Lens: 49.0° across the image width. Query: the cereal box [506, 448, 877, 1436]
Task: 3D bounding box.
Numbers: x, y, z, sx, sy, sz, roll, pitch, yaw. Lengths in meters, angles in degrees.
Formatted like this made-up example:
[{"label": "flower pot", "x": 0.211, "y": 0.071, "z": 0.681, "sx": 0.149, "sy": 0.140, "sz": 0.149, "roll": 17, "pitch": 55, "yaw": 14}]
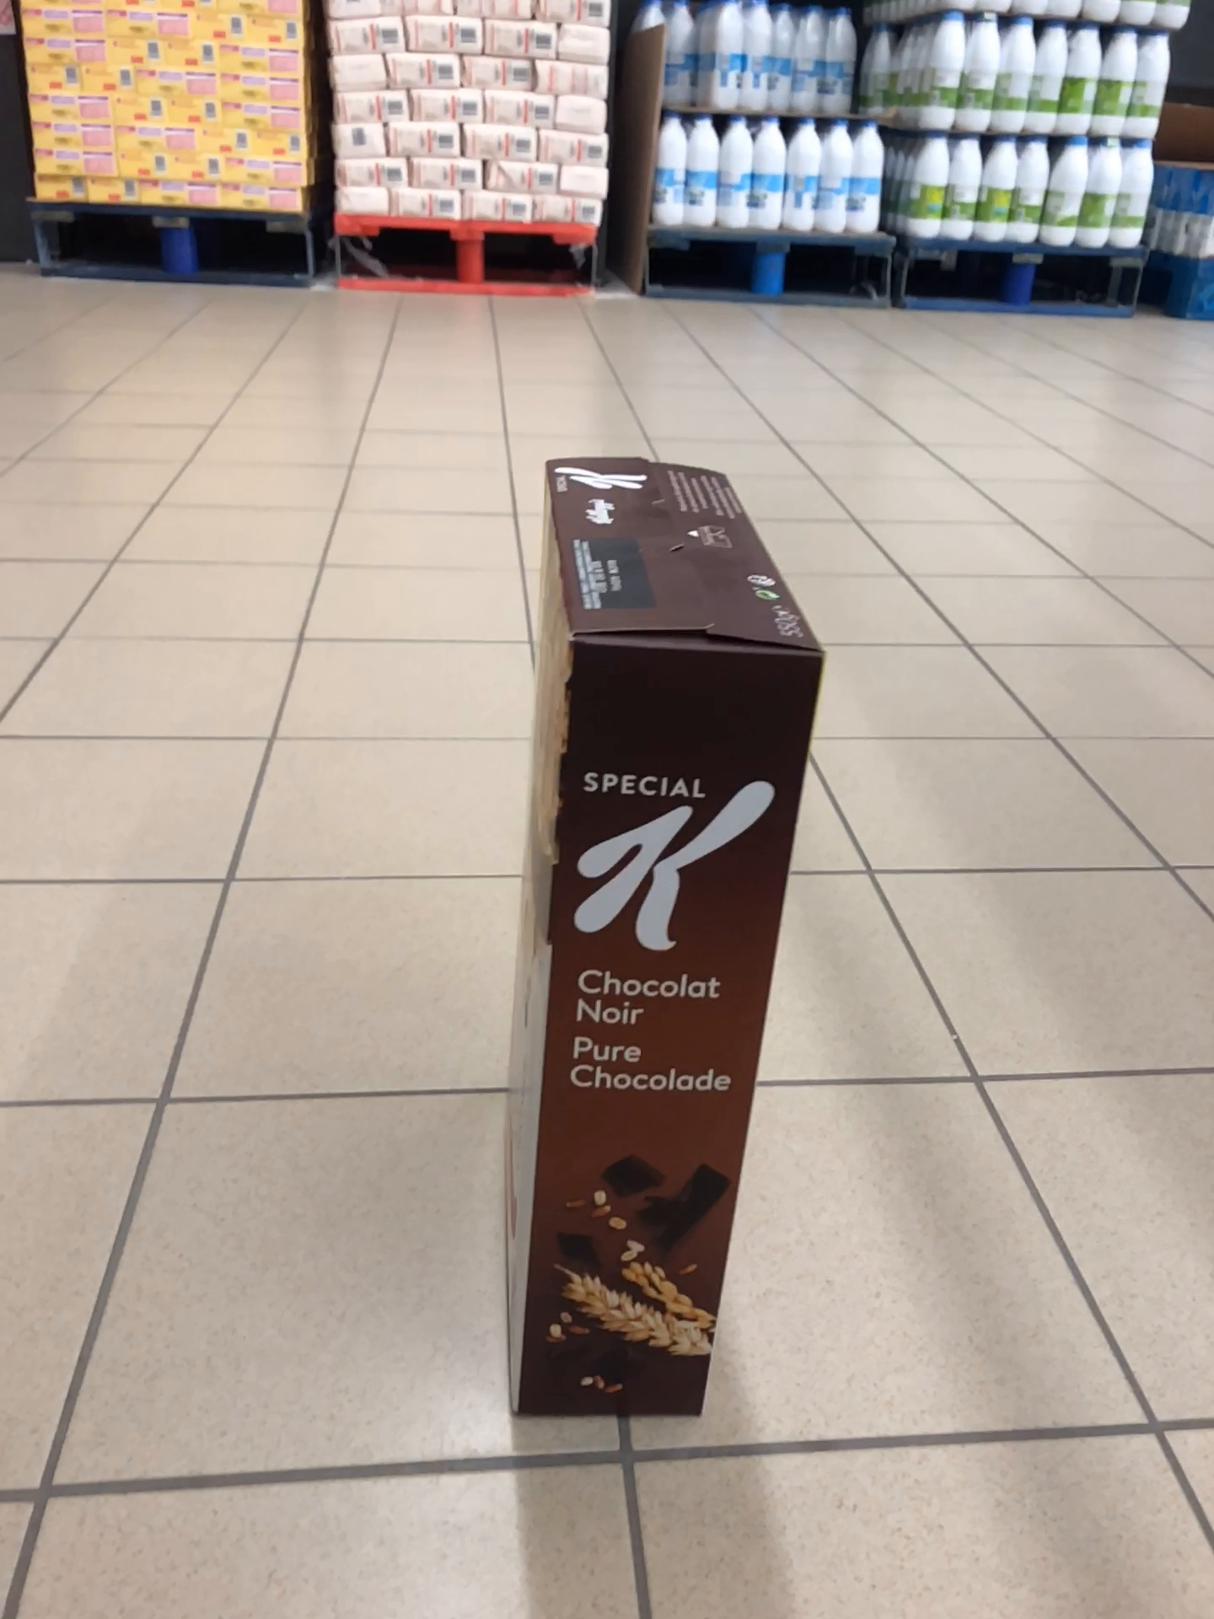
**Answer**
[{"label": "cereal box", "x": 0.010, "y": 0.040, "z": 0.502, "sx": 0.070, "sy": 0.298, "sz": 0.211, "roll": 2, "pitch": 26, "yaw": -8}]
